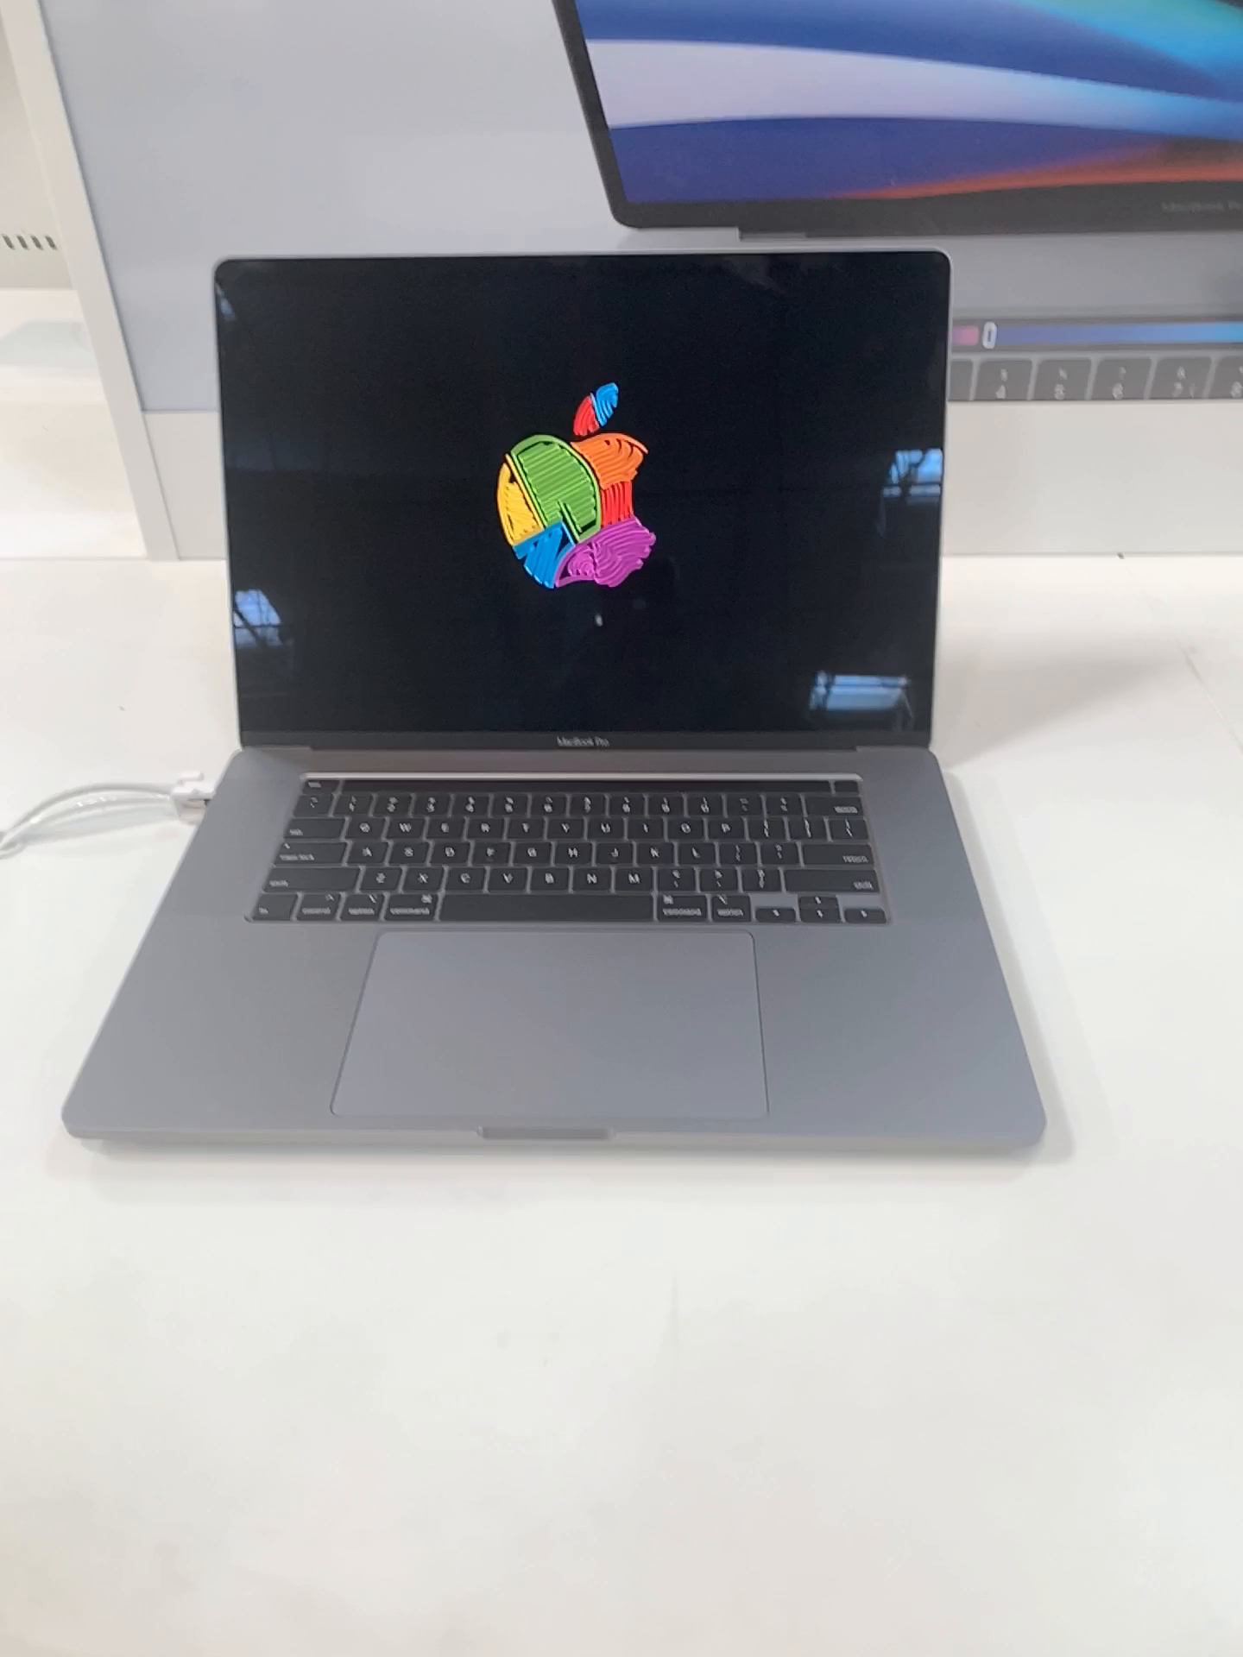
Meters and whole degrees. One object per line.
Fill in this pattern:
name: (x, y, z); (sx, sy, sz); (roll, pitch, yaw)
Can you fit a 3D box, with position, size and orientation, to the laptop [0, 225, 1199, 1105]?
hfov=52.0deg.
laptop: (-0.020, -0.091, 0.517); (0.341, 0.203, 0.347); (0, 37, 2)
